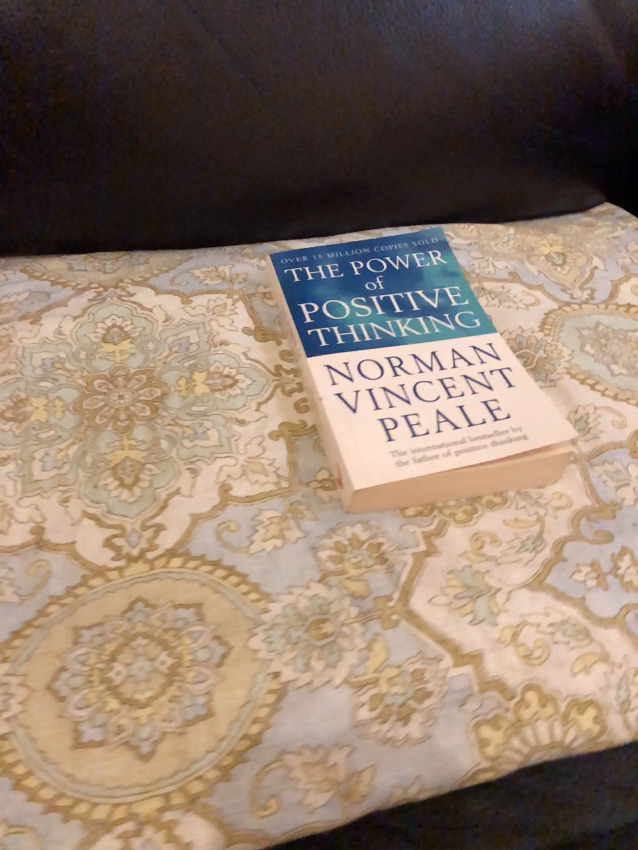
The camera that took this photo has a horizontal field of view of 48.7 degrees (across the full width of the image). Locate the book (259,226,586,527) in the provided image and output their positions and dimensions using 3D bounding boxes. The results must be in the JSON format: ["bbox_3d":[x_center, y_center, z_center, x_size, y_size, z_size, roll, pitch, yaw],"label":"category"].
[{"bbox_3d":[0.046,-0.040,0.395,0.120,0.030,0.183,-10,52,-14],"label":"book"}]
